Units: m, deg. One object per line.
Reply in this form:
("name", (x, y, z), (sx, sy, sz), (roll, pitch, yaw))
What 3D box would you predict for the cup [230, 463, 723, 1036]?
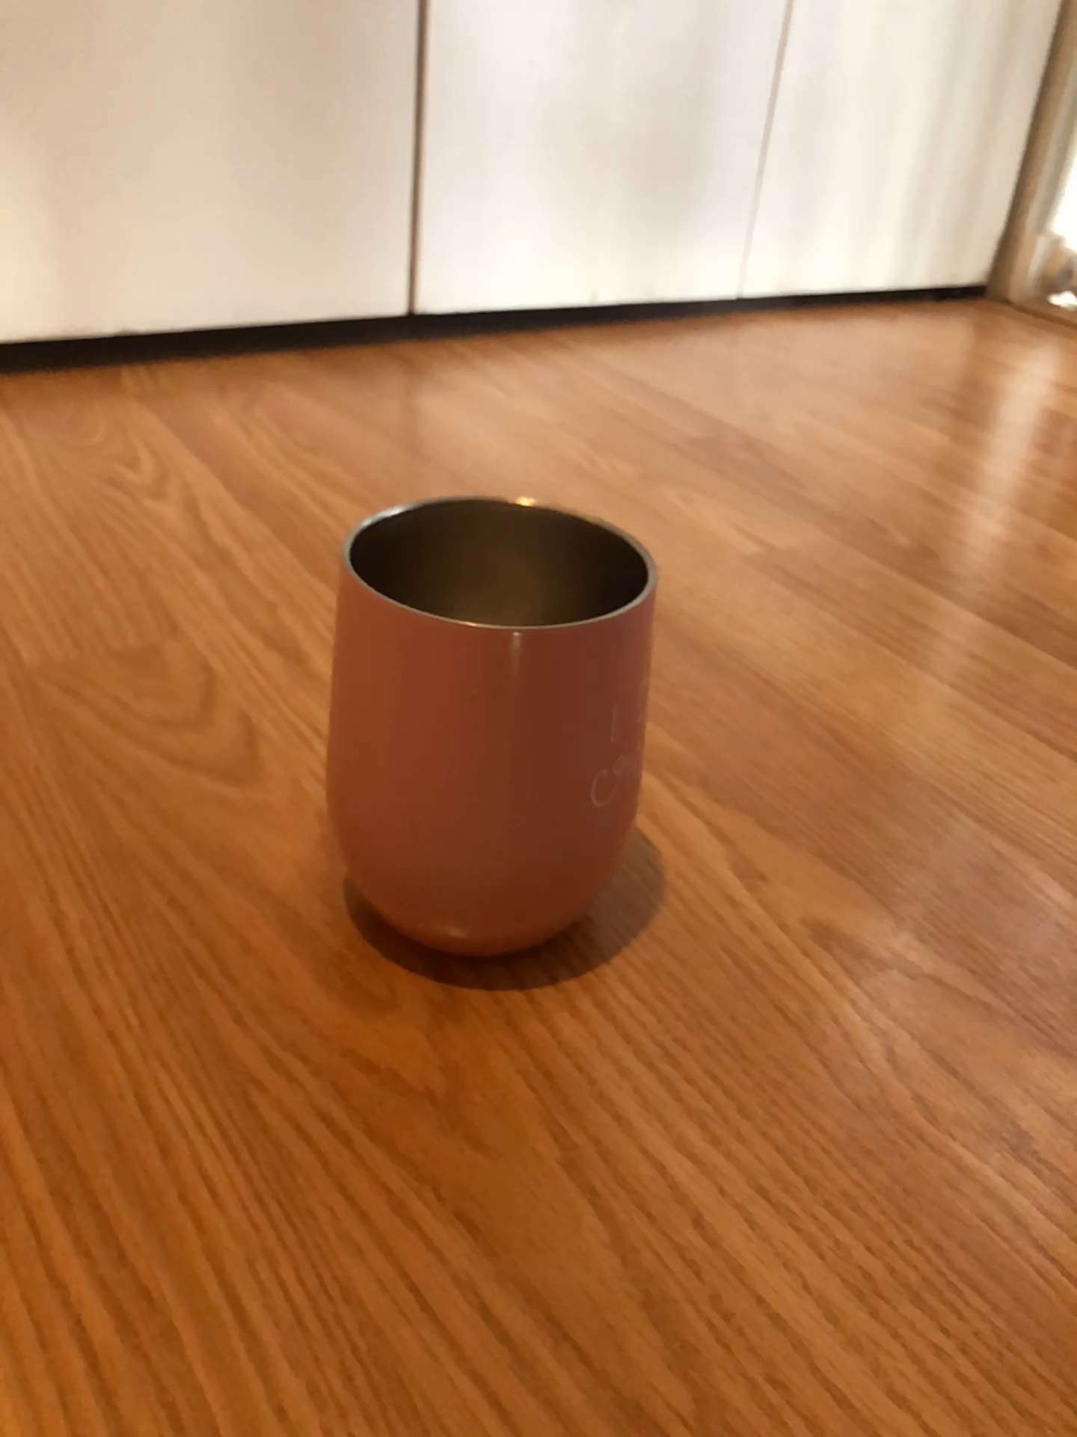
("cup", (-0.015, 0.002, 0.321), (0.090, 0.100, 0.090), (5, 31, -3))
